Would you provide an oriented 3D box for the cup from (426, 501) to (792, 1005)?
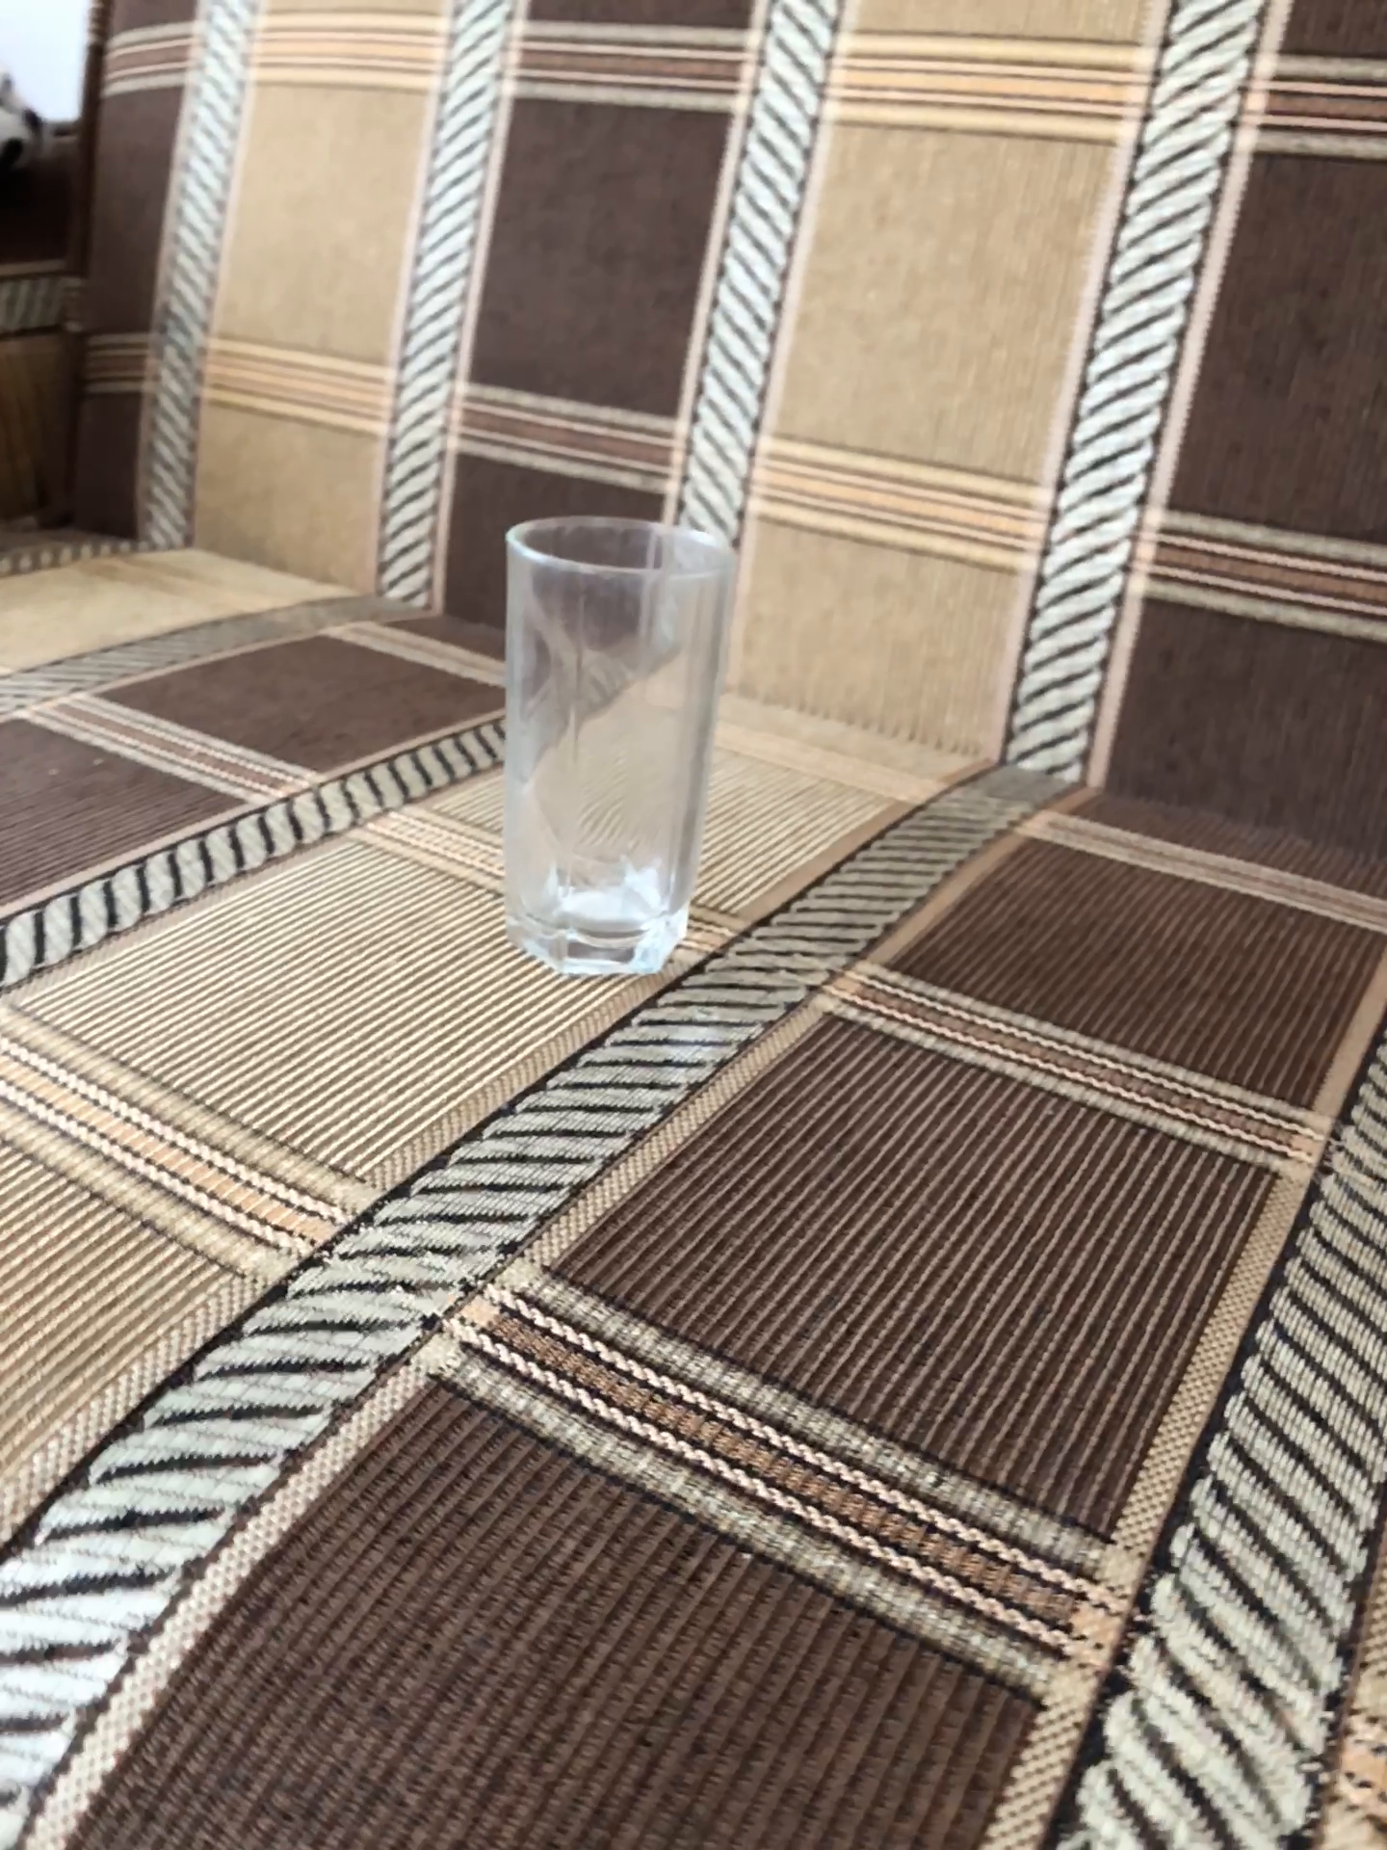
[{"bbox_3d":[-0.030,-0.058,0.488,0.077,0.130,0.075,5,25,-2],"label":"cup"}]
